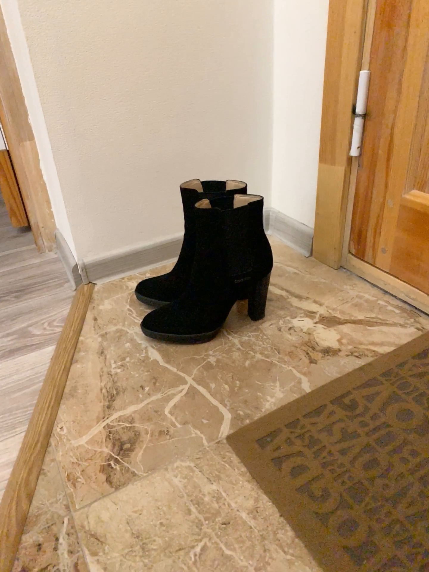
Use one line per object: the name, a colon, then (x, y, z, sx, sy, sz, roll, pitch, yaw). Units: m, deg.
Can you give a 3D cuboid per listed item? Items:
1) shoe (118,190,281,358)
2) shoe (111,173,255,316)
shoe: (-0.018, -0.020, 0.667, 0.214, 0.198, 0.087, -12, 31, -13)
shoe: (-0.047, -0.070, 0.743, 0.214, 0.198, 0.087, -7, 30, -6)
